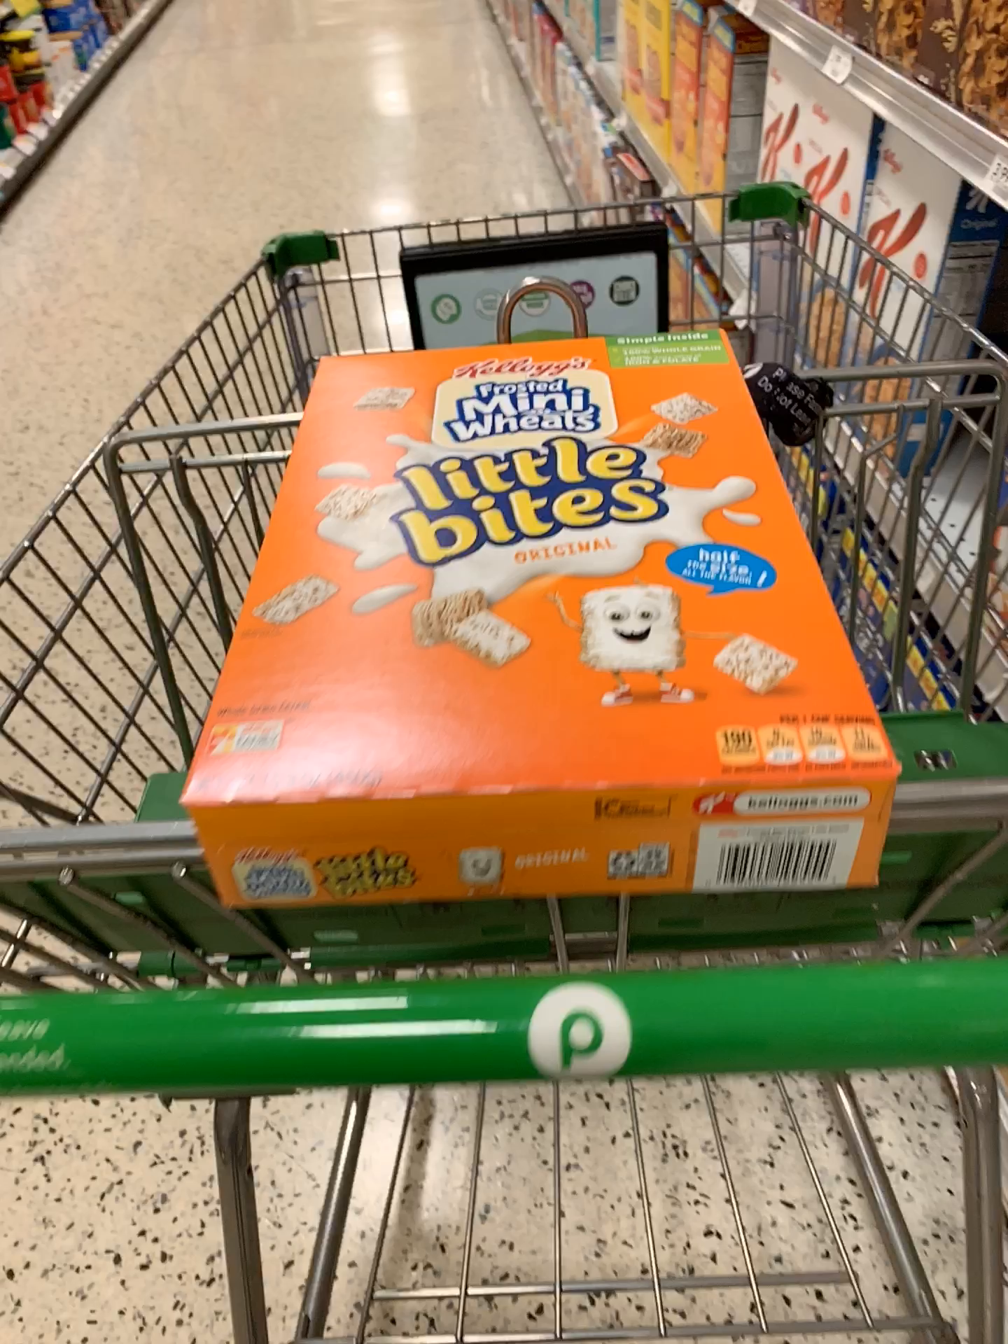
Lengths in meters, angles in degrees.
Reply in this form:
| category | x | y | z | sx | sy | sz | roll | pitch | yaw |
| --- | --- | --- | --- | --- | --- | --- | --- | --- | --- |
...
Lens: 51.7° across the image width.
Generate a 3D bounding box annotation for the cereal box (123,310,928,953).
| category | x | y | z | sx | sy | sz | roll | pitch | yaw |
| --- | --- | --- | --- | --- | --- | --- | --- | --- | --- |
| cereal box | 0.005 | -0.047 | 0.414 | 0.210 | 0.059 | 0.323 | -3 | 40 | 2 |
